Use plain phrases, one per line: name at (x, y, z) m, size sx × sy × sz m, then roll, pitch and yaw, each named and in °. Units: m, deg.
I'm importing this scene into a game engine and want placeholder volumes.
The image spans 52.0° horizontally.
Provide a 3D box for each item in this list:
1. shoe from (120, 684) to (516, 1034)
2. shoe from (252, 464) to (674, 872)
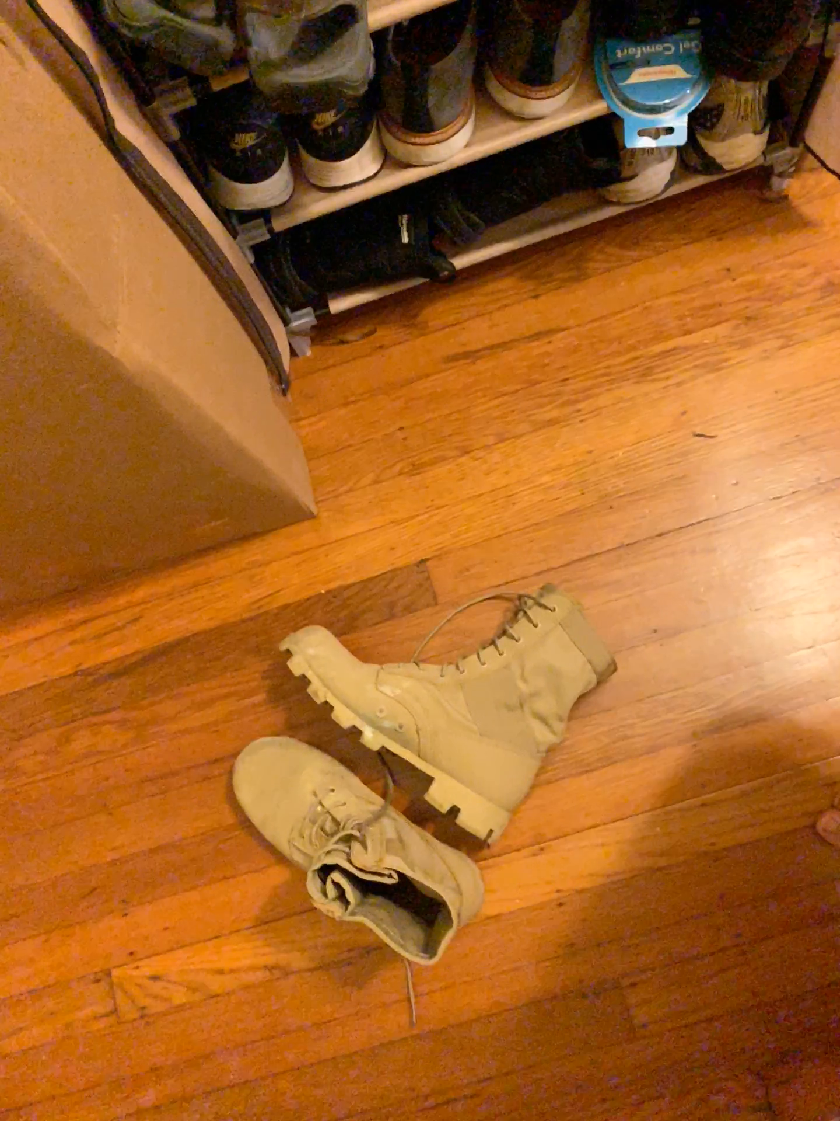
shoe at (-0.075, 0.245, 0.763) m, size 0.290 × 0.200 × 0.120 m, roll 30°, pitch 83°, yaw 14°
shoe at (0.042, 0.100, 0.838) m, size 0.290 × 0.110 × 0.260 m, roll 32°, pitch 77°, yaw 14°
